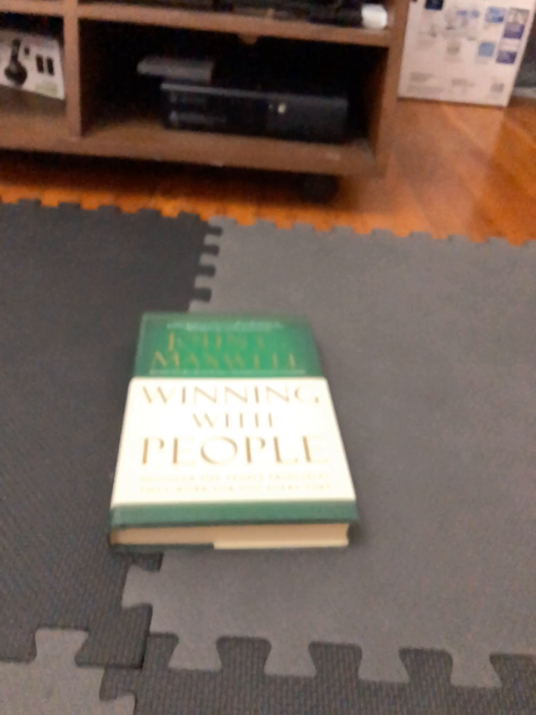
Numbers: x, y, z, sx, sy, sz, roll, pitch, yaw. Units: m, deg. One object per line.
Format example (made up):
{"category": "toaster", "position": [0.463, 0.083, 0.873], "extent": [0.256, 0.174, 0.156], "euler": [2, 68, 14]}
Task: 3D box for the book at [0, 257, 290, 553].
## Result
{"category": "book", "position": [-0.095, 0.010, 0.446], "extent": [0.200, 0.030, 0.292], "euler": [2, 36, -5]}
